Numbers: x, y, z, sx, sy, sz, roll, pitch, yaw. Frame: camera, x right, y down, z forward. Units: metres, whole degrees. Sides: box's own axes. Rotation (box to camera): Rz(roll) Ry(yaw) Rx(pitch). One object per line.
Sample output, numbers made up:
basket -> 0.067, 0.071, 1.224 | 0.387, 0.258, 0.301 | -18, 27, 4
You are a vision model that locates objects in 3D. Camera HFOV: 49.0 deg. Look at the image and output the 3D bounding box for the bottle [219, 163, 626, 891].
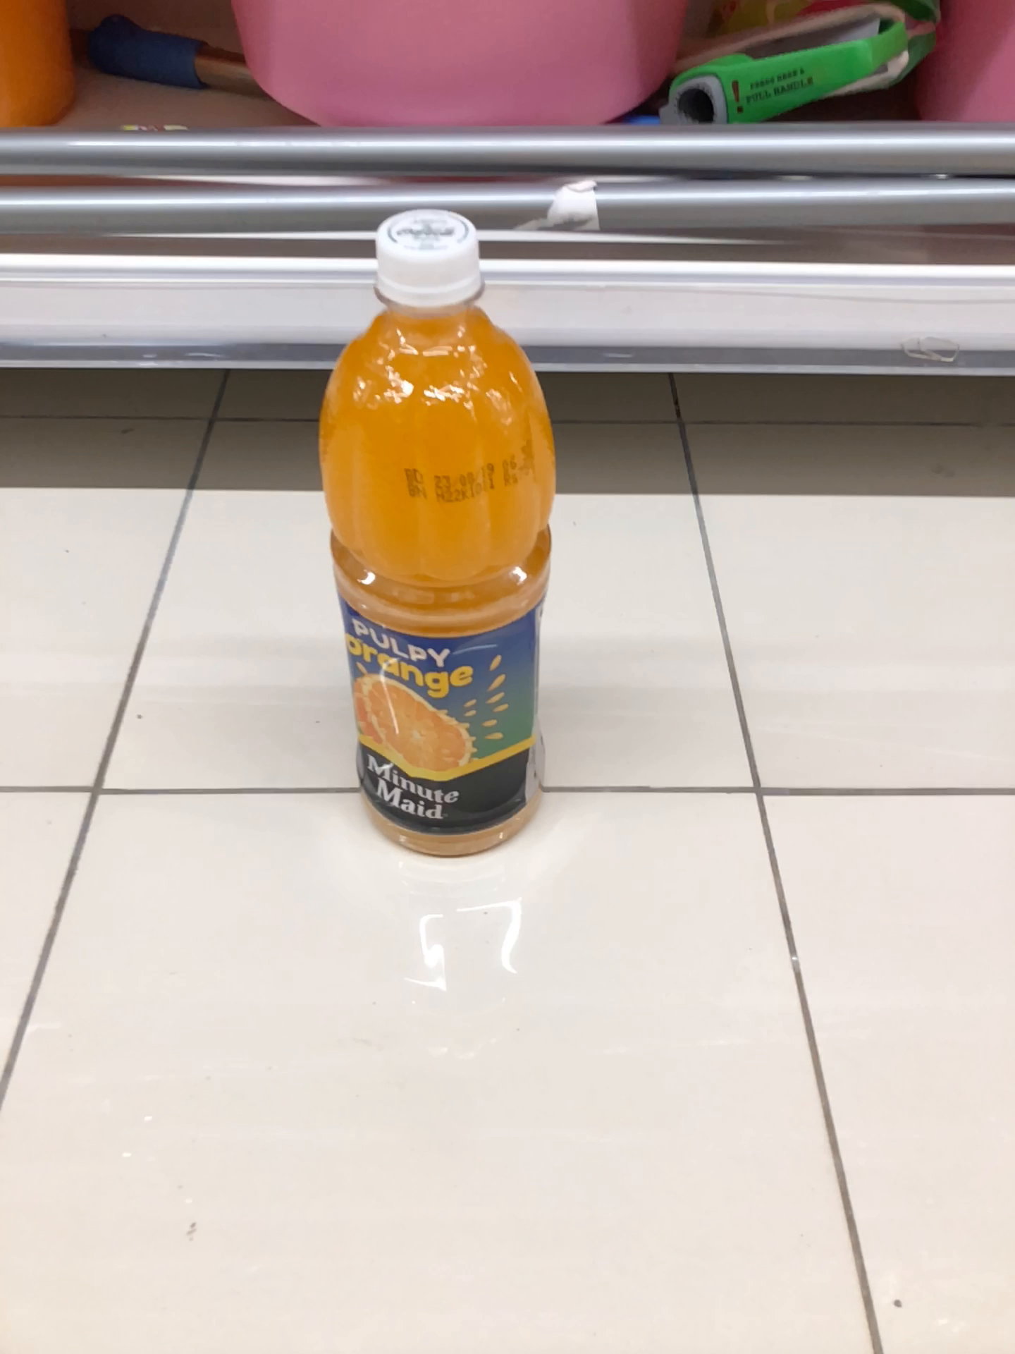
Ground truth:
bottle -> -0.022, -0.040, 0.410 | 0.090, 0.245, 0.091 | 0, 45, 0
